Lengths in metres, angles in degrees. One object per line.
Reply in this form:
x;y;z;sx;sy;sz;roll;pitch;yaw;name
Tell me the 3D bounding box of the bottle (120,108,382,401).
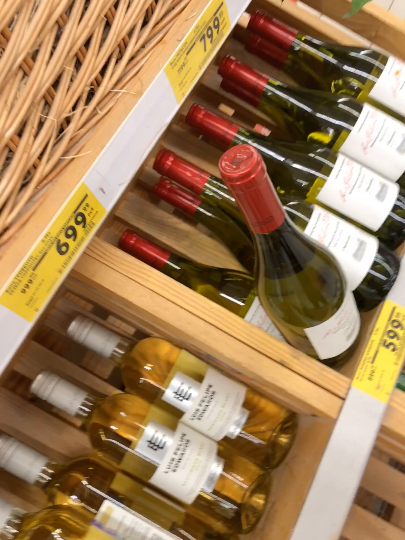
0.069;0.005;0.399;0.100;0.289;0.100;-16;51;21;bottle
